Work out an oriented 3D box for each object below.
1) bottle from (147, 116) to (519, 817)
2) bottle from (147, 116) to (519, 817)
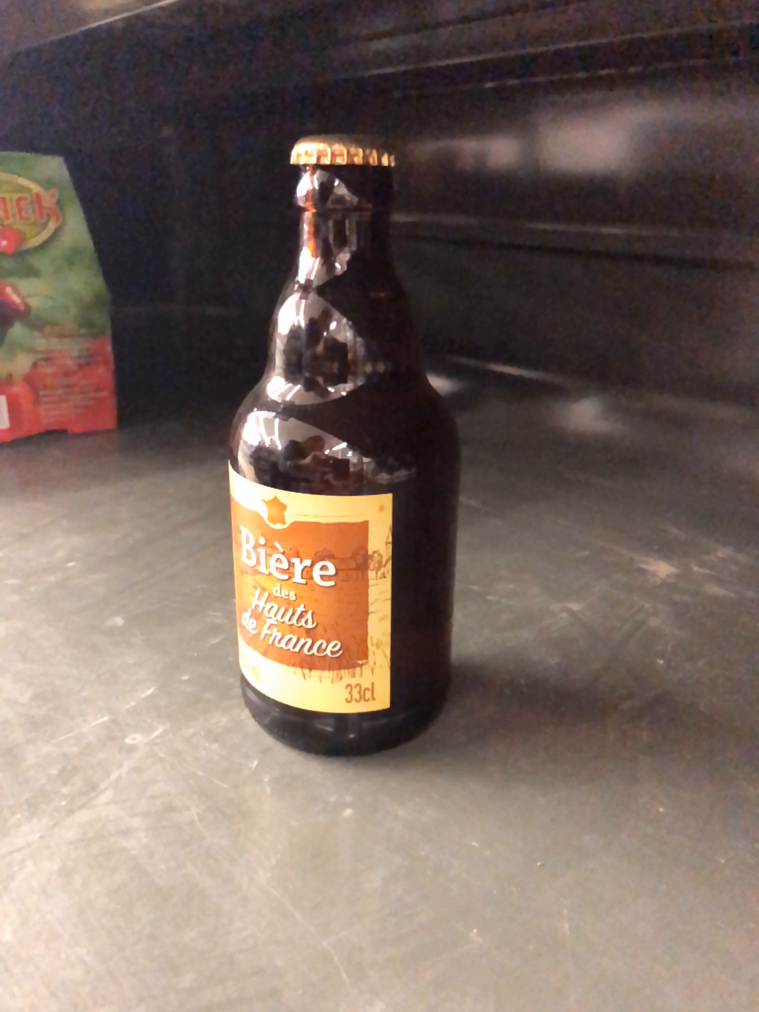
[{"bbox_3d":[-0.011,-0.014,0.253,0.070,0.179,0.070,0,19,0],"label":"bottle"},{"bbox_3d":[-0.011,-0.014,0.253,0.070,0.179,0.070,0,19,0],"label":"bottle"}]
